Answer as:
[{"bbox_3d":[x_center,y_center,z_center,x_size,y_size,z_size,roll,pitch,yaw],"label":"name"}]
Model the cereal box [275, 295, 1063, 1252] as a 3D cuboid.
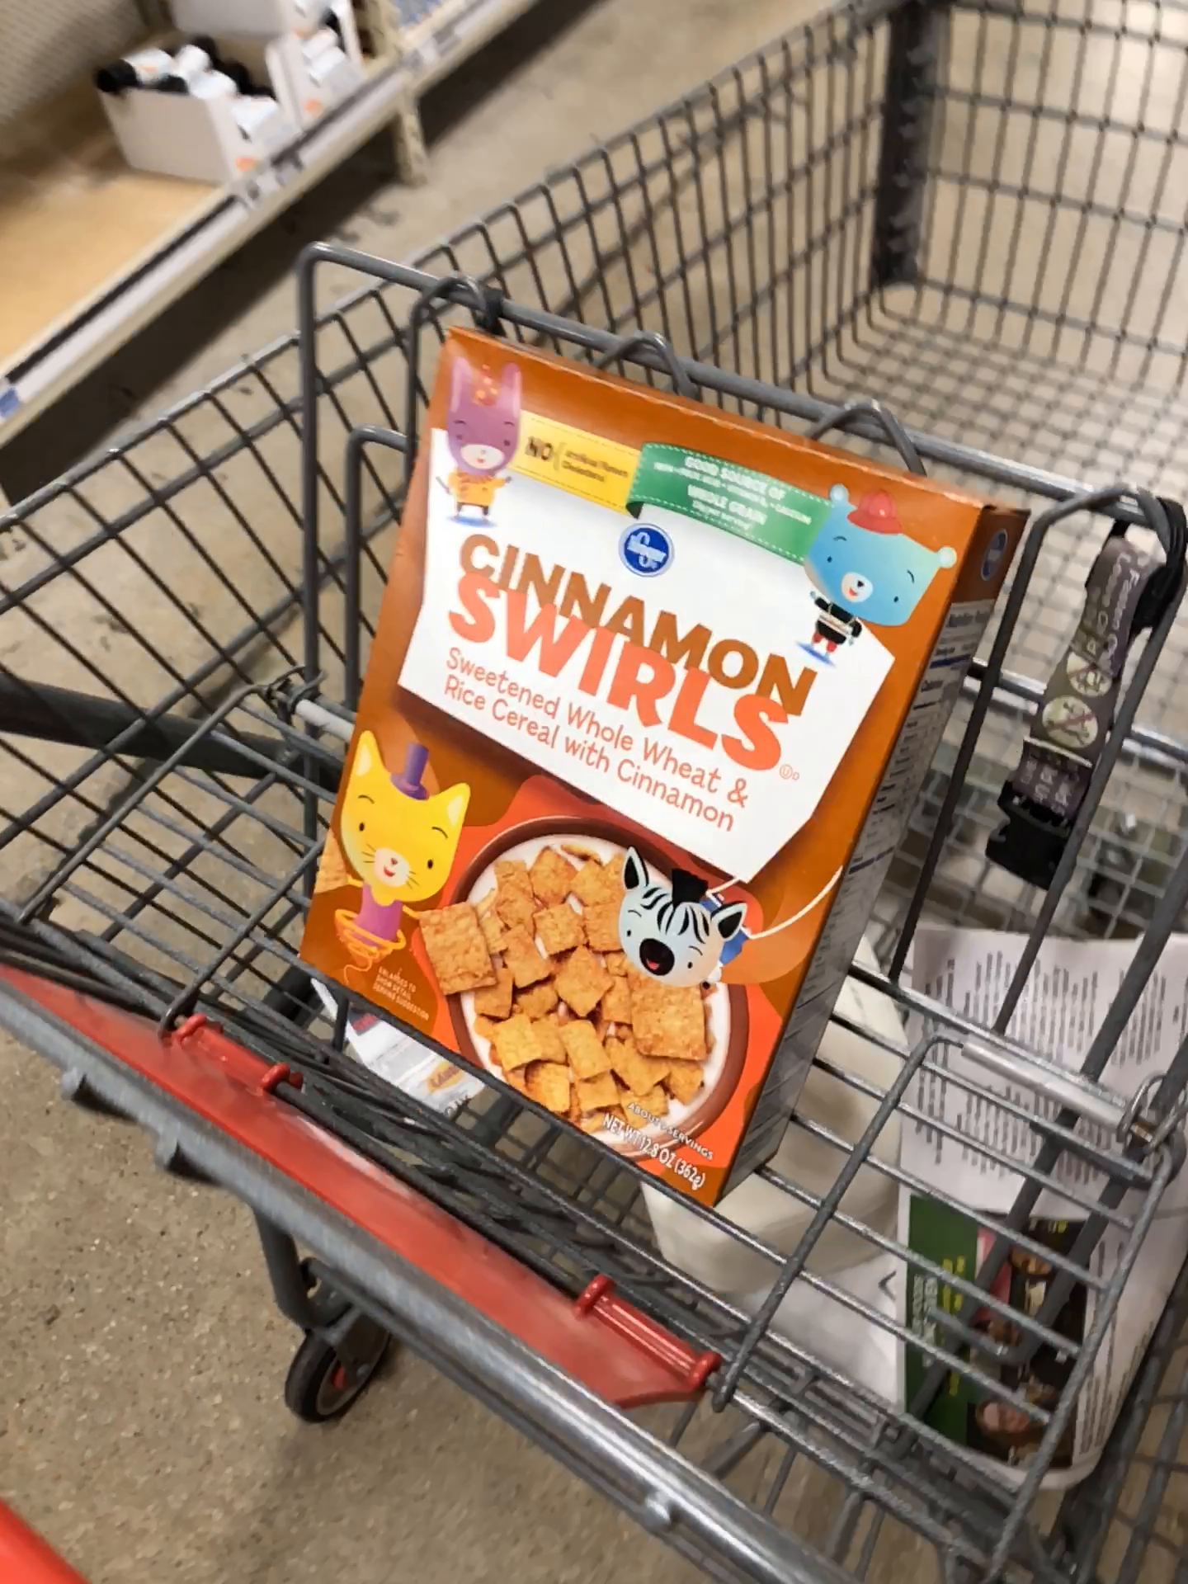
[{"bbox_3d":[0.006,-0.011,0.459,0.210,0.260,0.050,27,22,25],"label":"cereal box"}]
